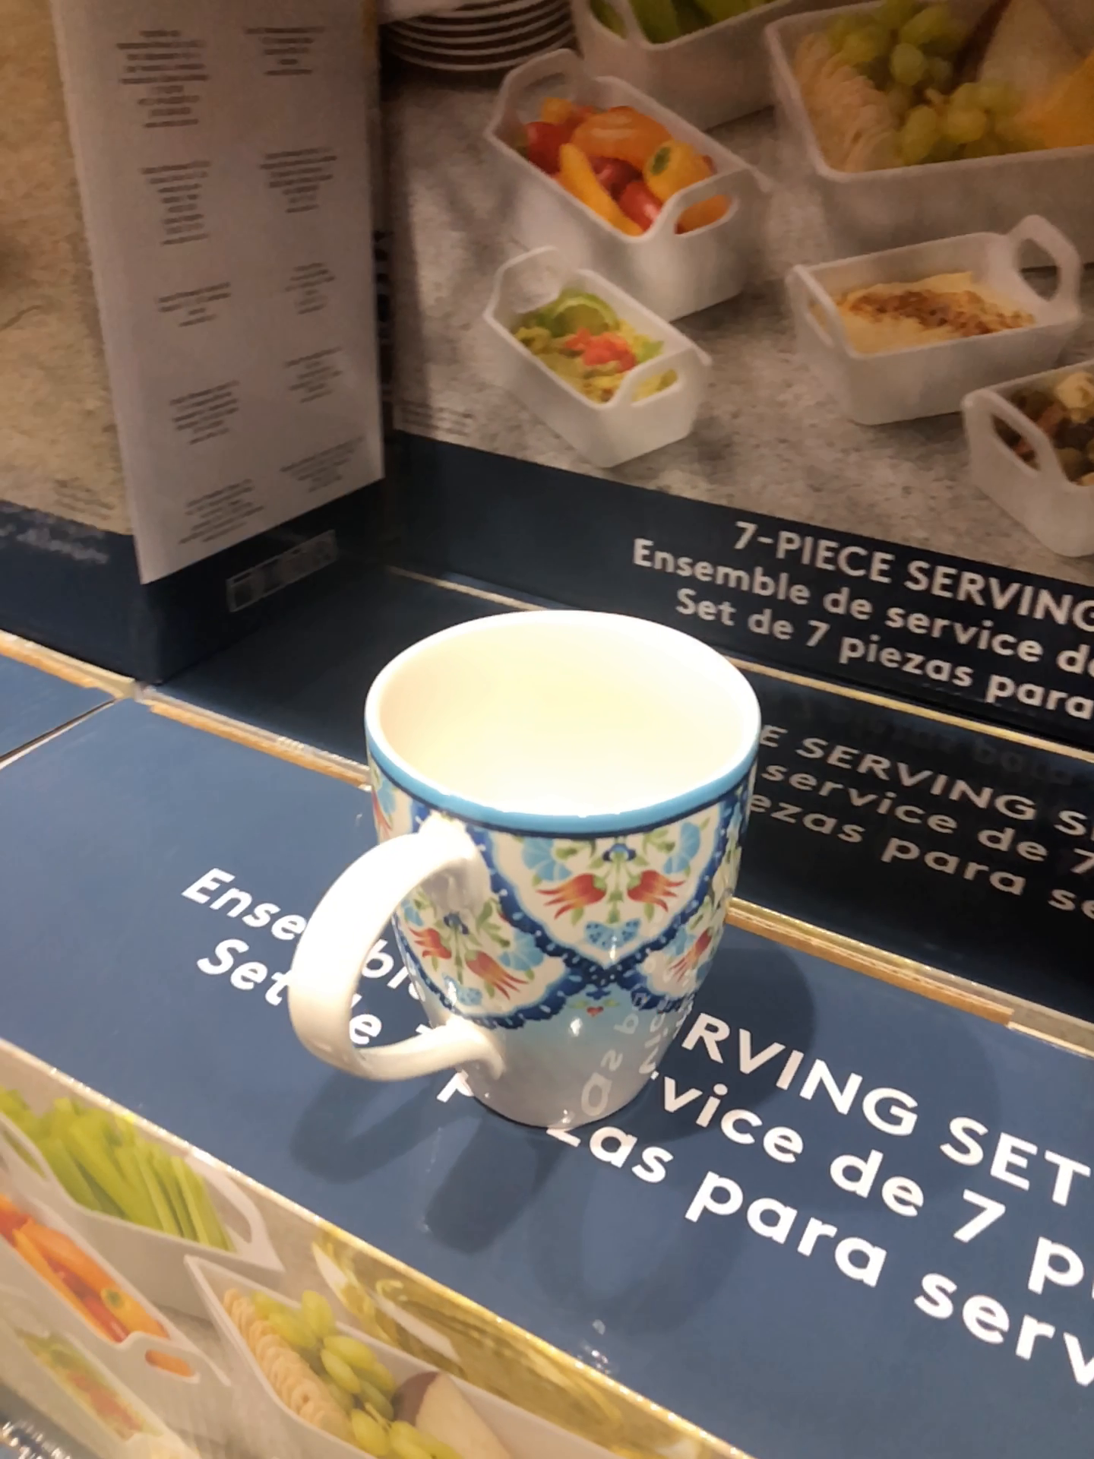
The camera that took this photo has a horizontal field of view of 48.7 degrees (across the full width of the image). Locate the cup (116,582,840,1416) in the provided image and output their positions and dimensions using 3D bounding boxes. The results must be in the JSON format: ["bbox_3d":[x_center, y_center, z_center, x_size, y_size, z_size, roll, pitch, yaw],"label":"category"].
[{"bbox_3d":[-0.005,0.044,0.271,0.089,0.096,0.137,17,33,24],"label":"cup"}]
